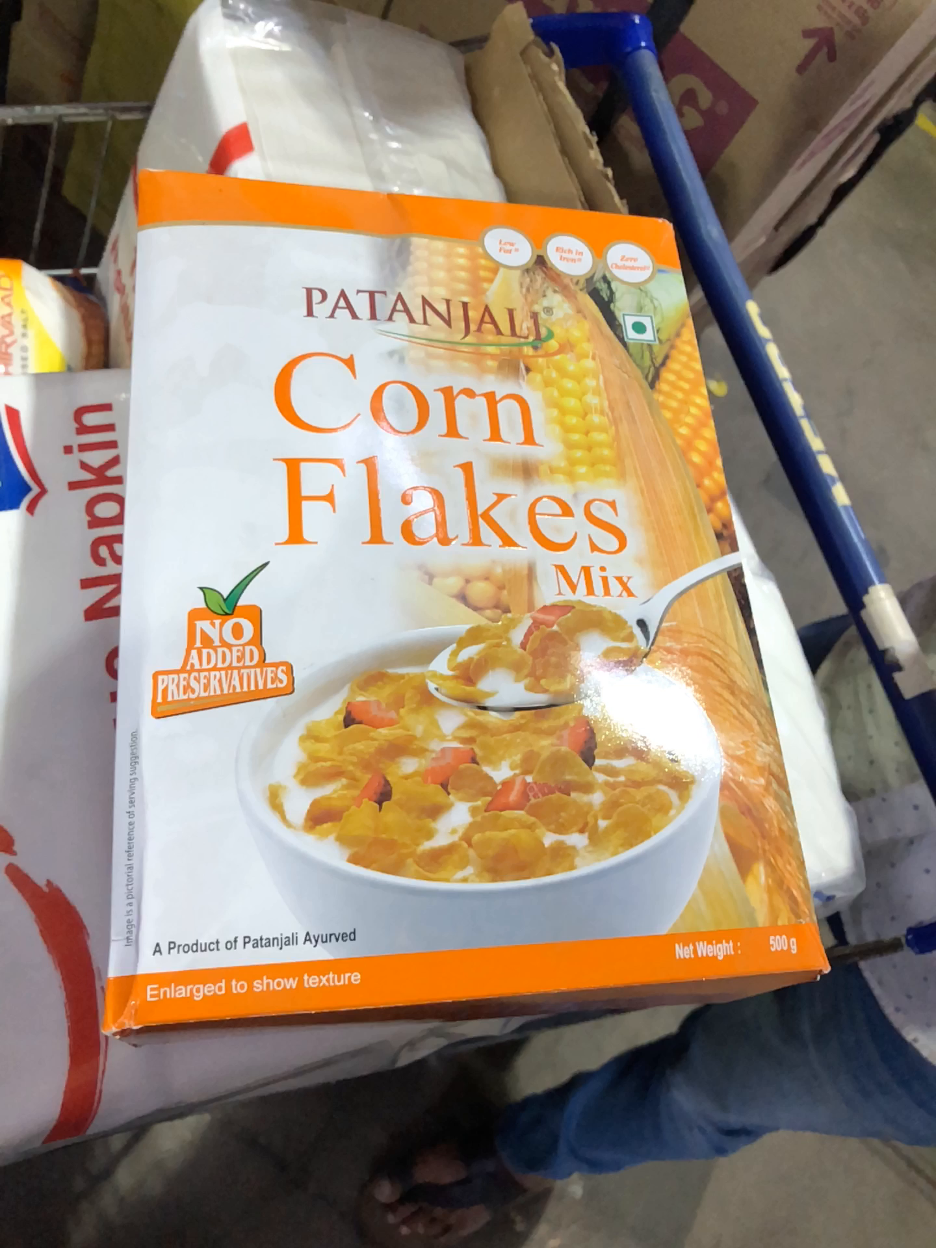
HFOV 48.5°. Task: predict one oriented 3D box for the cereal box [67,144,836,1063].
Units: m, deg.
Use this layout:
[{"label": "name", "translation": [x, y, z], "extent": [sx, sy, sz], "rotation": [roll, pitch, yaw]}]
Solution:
[{"label": "cereal box", "translation": [-0.018, -0.014, 0.345], "extent": [0.200, 0.080, 0.271], "rotation": [-1, 69, -15]}]
